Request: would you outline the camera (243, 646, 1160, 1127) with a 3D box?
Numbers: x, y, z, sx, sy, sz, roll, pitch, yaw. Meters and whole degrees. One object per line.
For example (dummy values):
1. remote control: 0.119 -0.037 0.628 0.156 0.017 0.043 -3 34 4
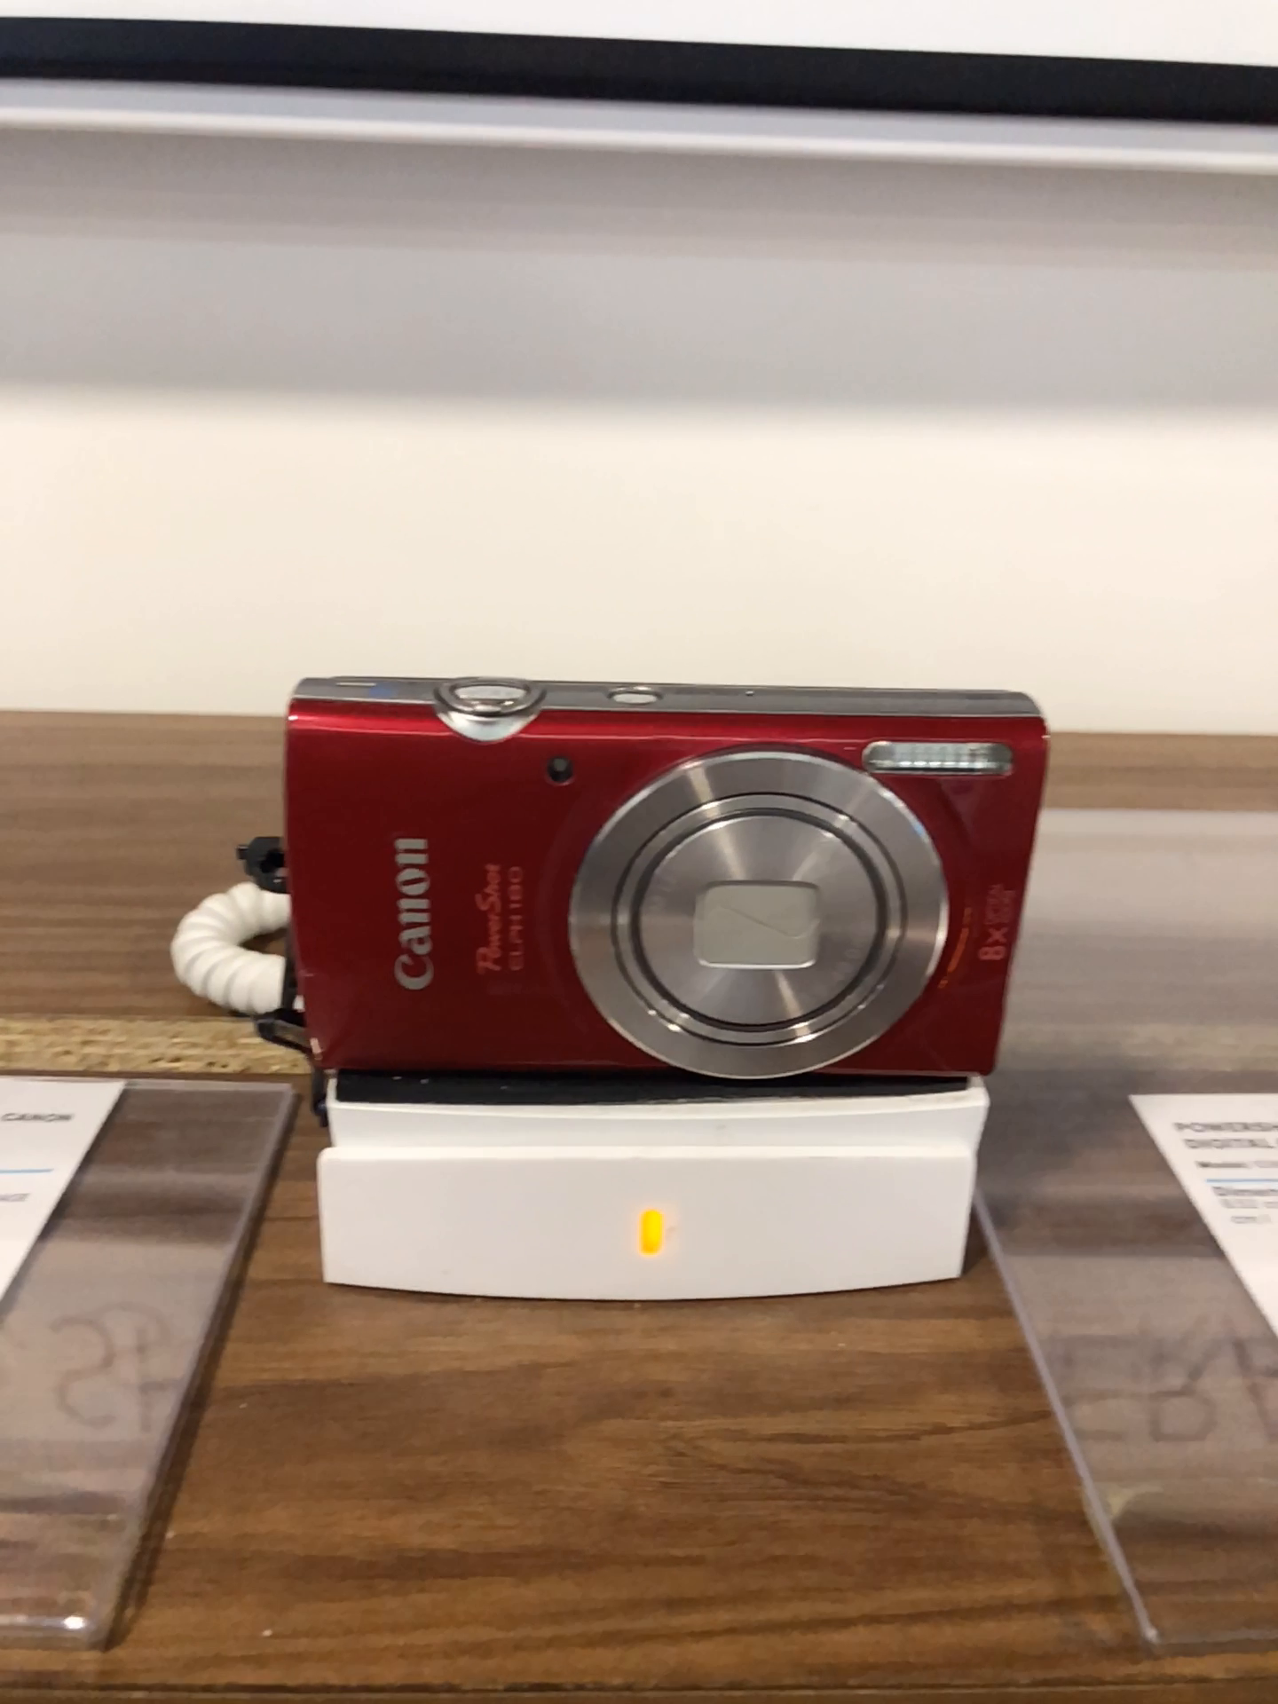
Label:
1. camera: 0.006 0.004 0.179 0.100 0.050 0.030 1 23 -1
